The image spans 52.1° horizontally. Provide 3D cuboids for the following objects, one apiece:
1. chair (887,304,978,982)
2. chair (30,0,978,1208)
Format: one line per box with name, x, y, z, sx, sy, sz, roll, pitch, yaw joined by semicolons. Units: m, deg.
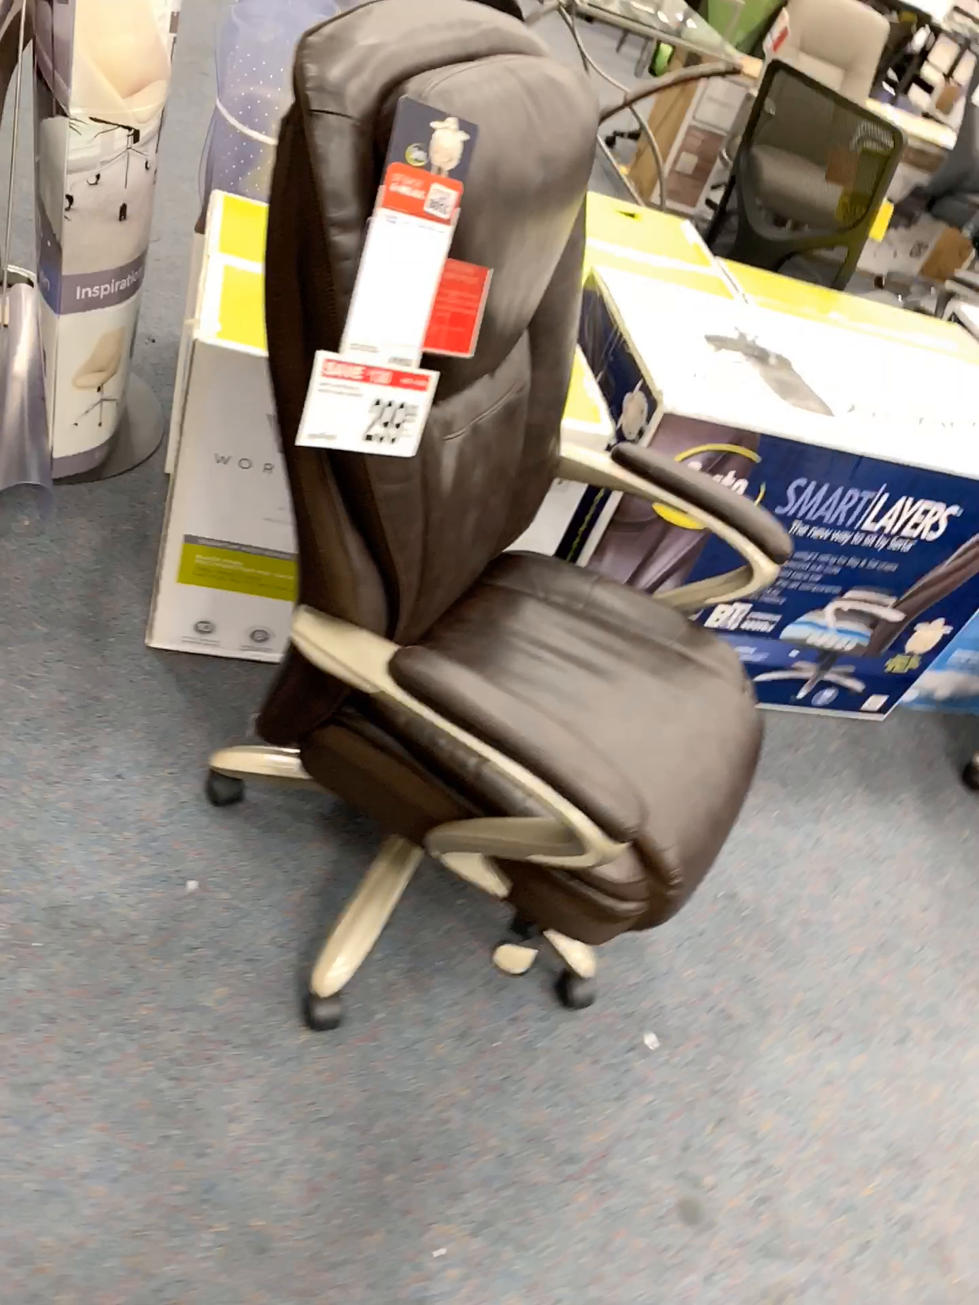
chair;1.504;0.037;1.968;0.702;0.994;0.758;10;43;-17
chair;0.053;-0.084;1.295;0.844;1.104;0.785;37;42;11
